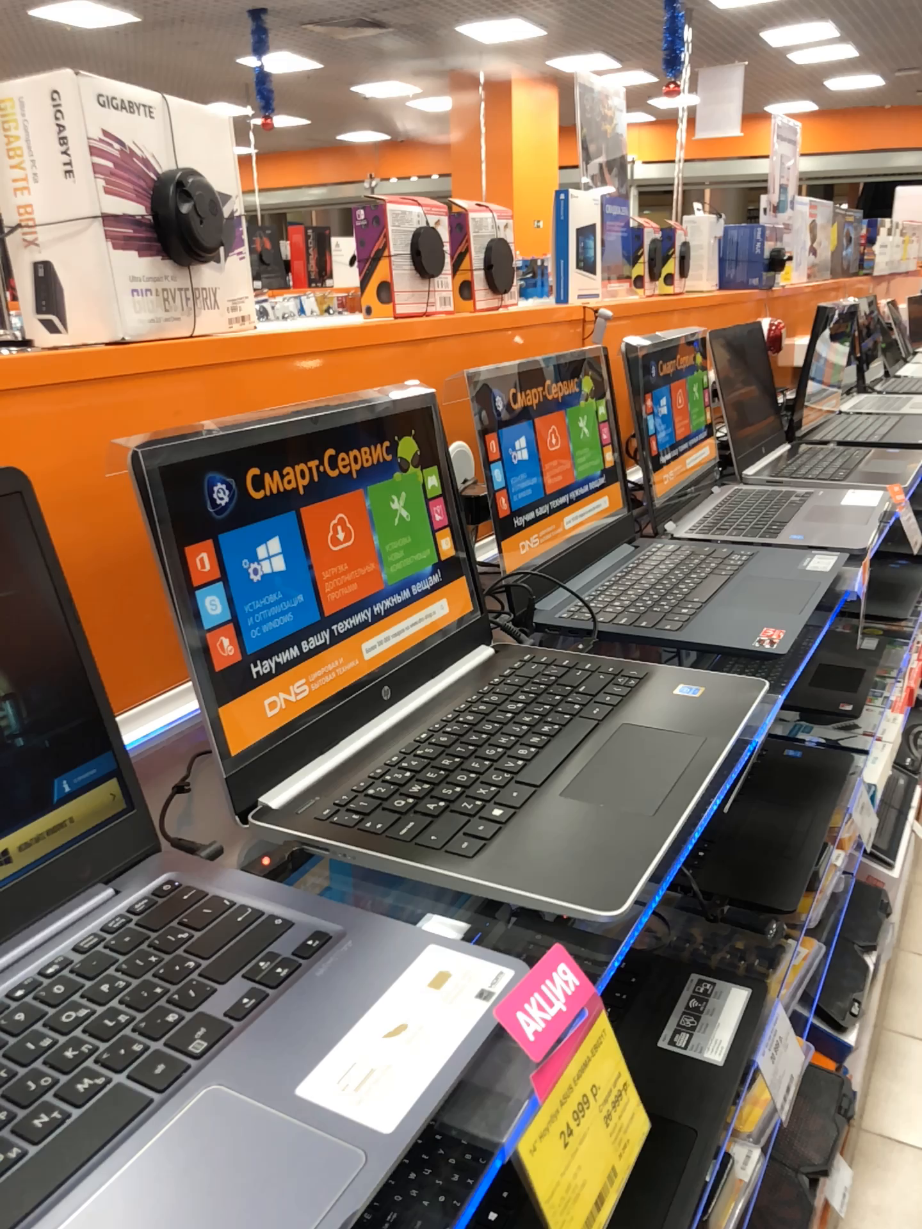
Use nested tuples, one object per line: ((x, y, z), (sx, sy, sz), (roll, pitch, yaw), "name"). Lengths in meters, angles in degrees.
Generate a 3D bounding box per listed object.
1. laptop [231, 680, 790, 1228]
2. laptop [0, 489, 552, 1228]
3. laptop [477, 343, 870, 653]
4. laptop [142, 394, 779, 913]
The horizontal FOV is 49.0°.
((0.063, 0.242, 0.734), (0.251, 0.245, 0.364), (7, 20, 28), "laptop")
((-0.169, 0.084, 0.336), (0.279, 0.199, 0.314), (6, 18, 27), "laptop")
((0.201, -0.126, 0.922), (0.248, 0.205, 0.277), (9, 22, 29), "laptop")
((0.025, -0.018, 0.633), (0.267, 0.197, 0.314), (8, 20, 27), "laptop")
